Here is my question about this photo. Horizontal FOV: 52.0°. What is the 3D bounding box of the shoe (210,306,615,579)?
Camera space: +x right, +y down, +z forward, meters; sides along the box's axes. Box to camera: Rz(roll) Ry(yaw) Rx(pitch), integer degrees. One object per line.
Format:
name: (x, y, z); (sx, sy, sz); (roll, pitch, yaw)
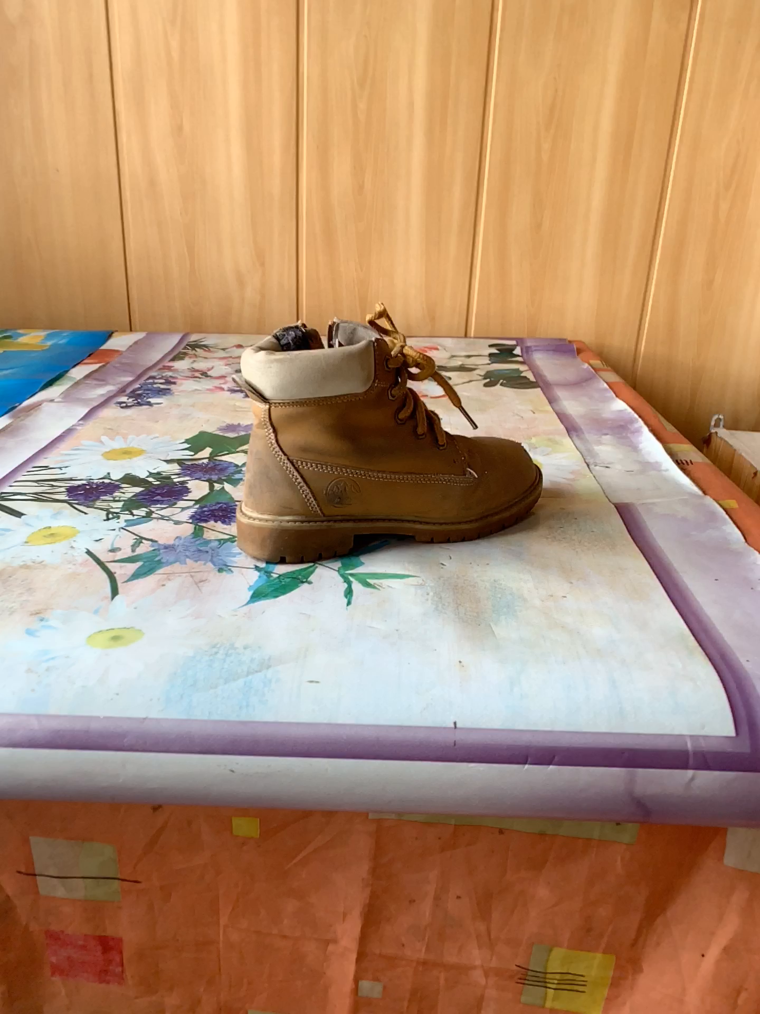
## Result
shoe: (0.017, -0.049, 0.481); (0.220, 0.129, 0.091); (-7, 24, -21)
